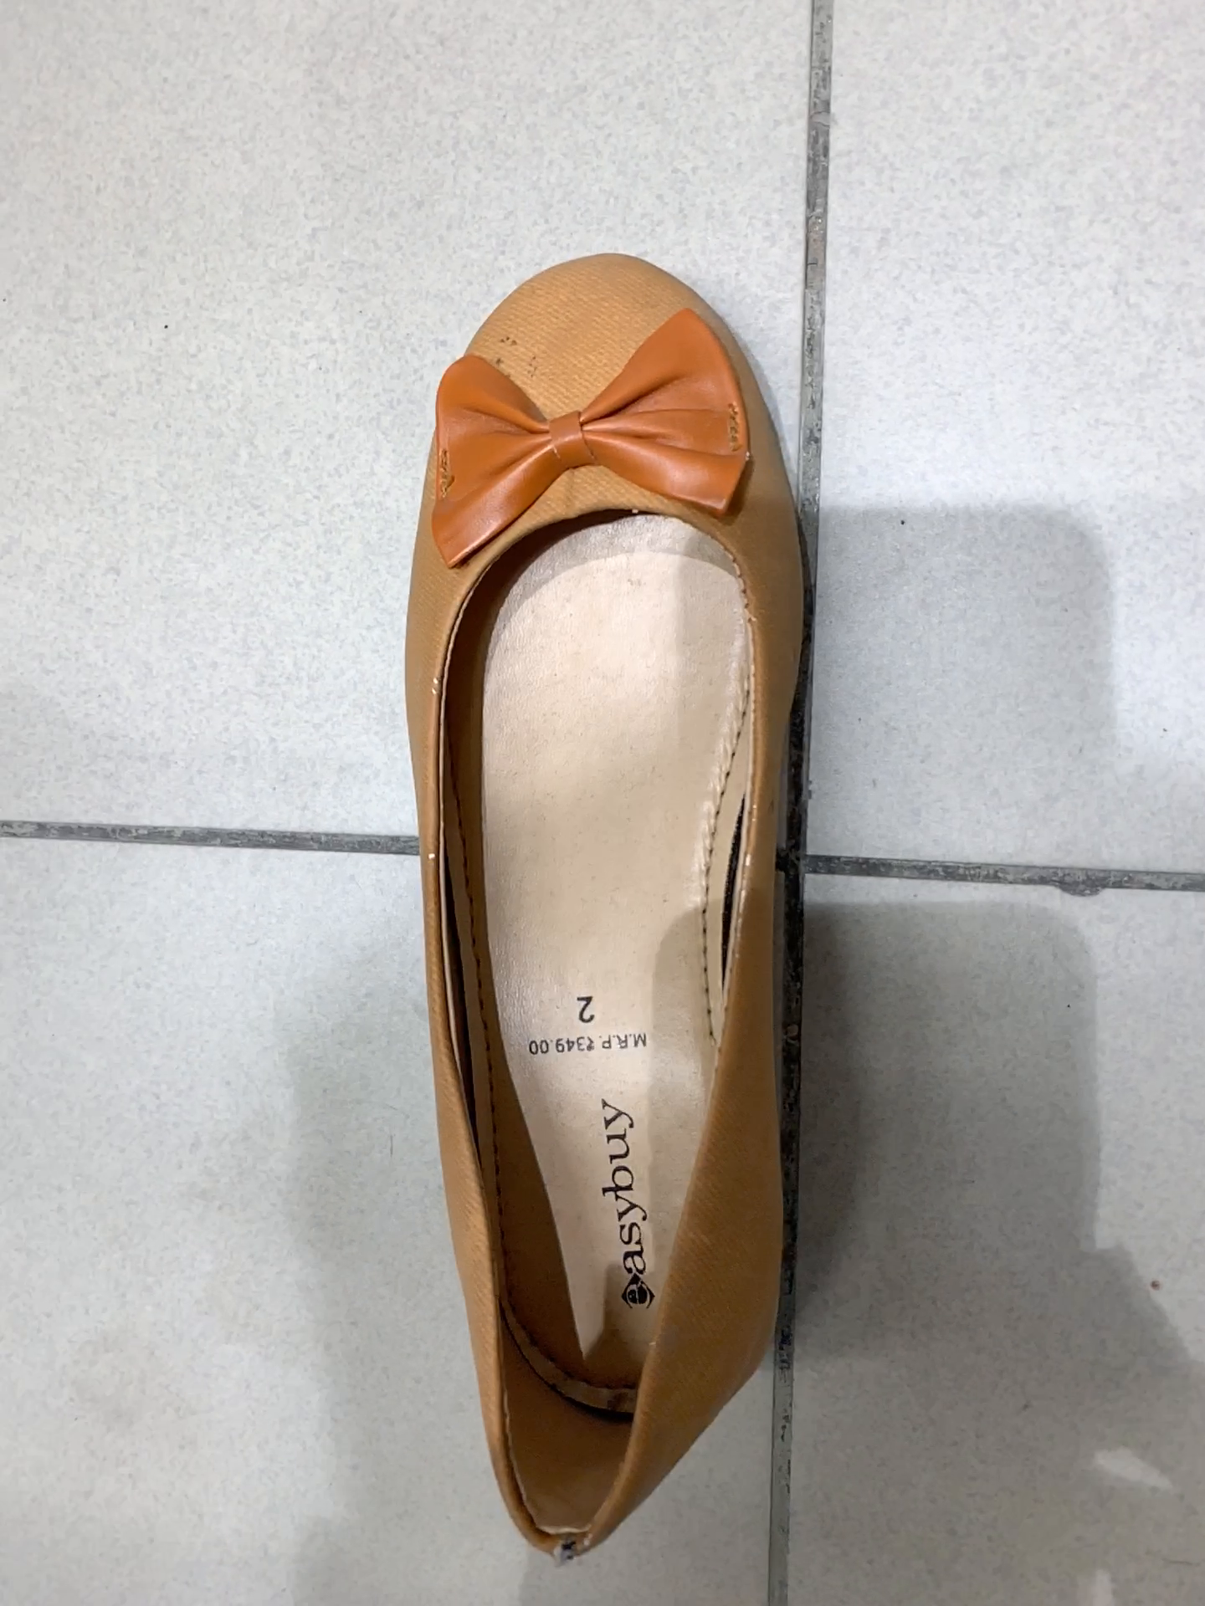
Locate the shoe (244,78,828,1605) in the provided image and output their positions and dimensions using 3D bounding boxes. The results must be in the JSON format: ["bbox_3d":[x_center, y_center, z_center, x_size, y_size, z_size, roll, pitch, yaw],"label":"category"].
[{"bbox_3d":[-0.005,0.014,0.211,0.080,0.070,0.220,0,92,14],"label":"shoe"}]
